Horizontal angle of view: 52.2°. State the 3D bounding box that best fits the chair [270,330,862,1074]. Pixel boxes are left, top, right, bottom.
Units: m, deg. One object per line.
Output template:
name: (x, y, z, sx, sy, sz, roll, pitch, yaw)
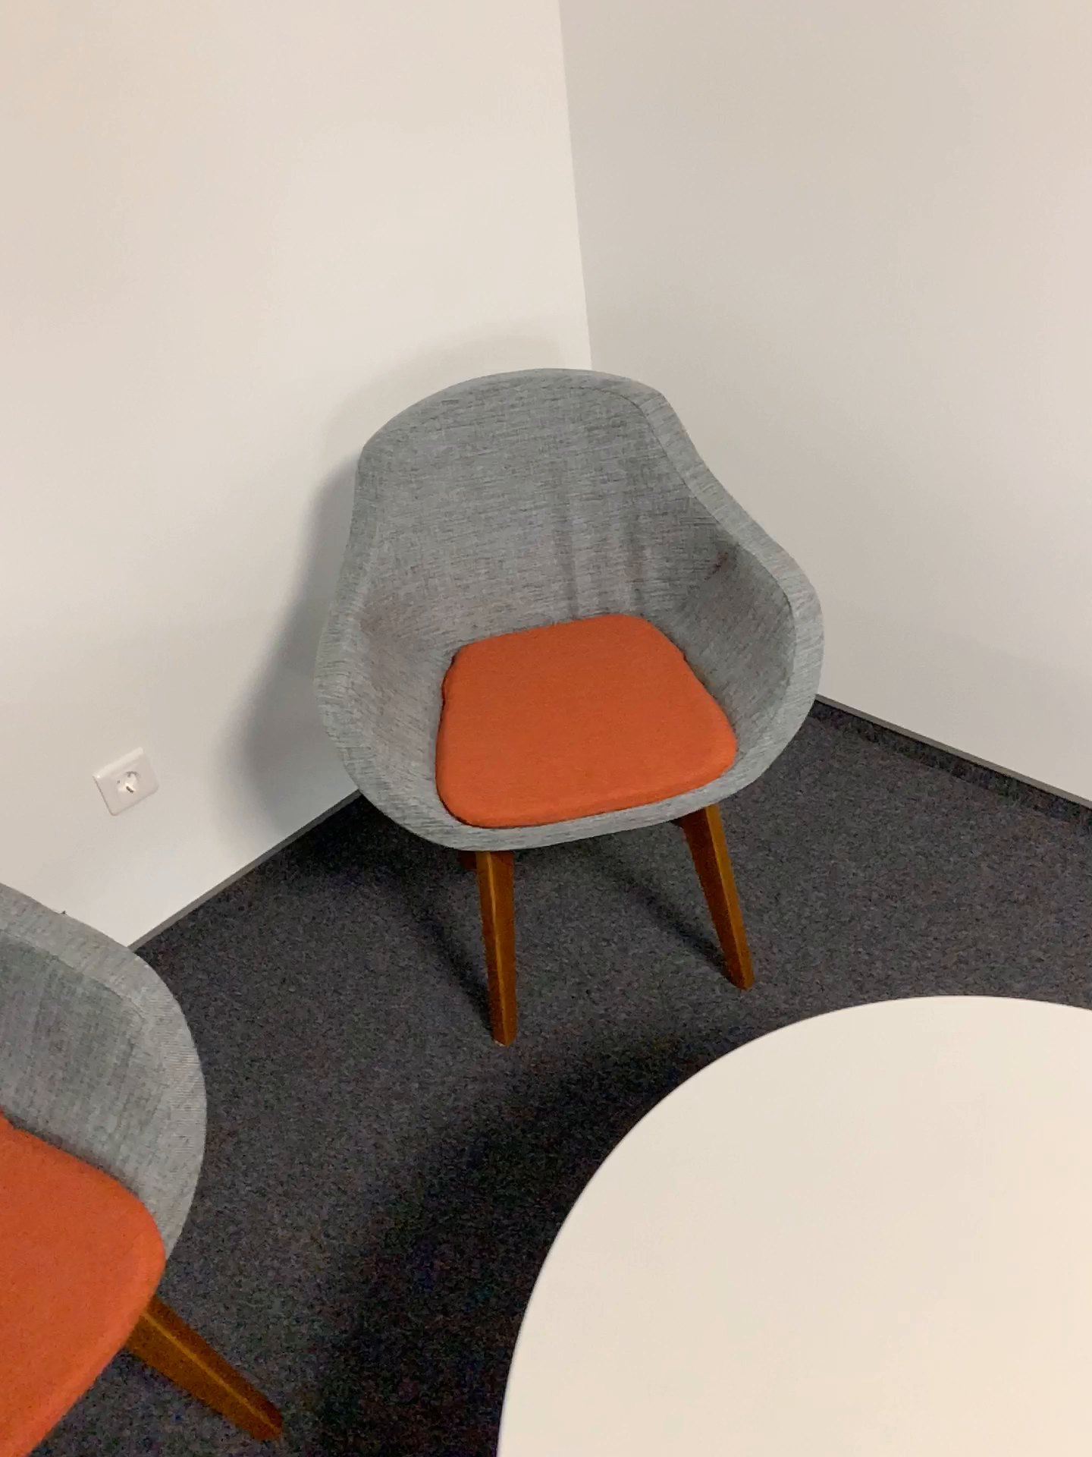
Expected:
chair: (0.033, -0.028, 1.612, 0.630, 0.835, 0.503, -11, 37, -4)
